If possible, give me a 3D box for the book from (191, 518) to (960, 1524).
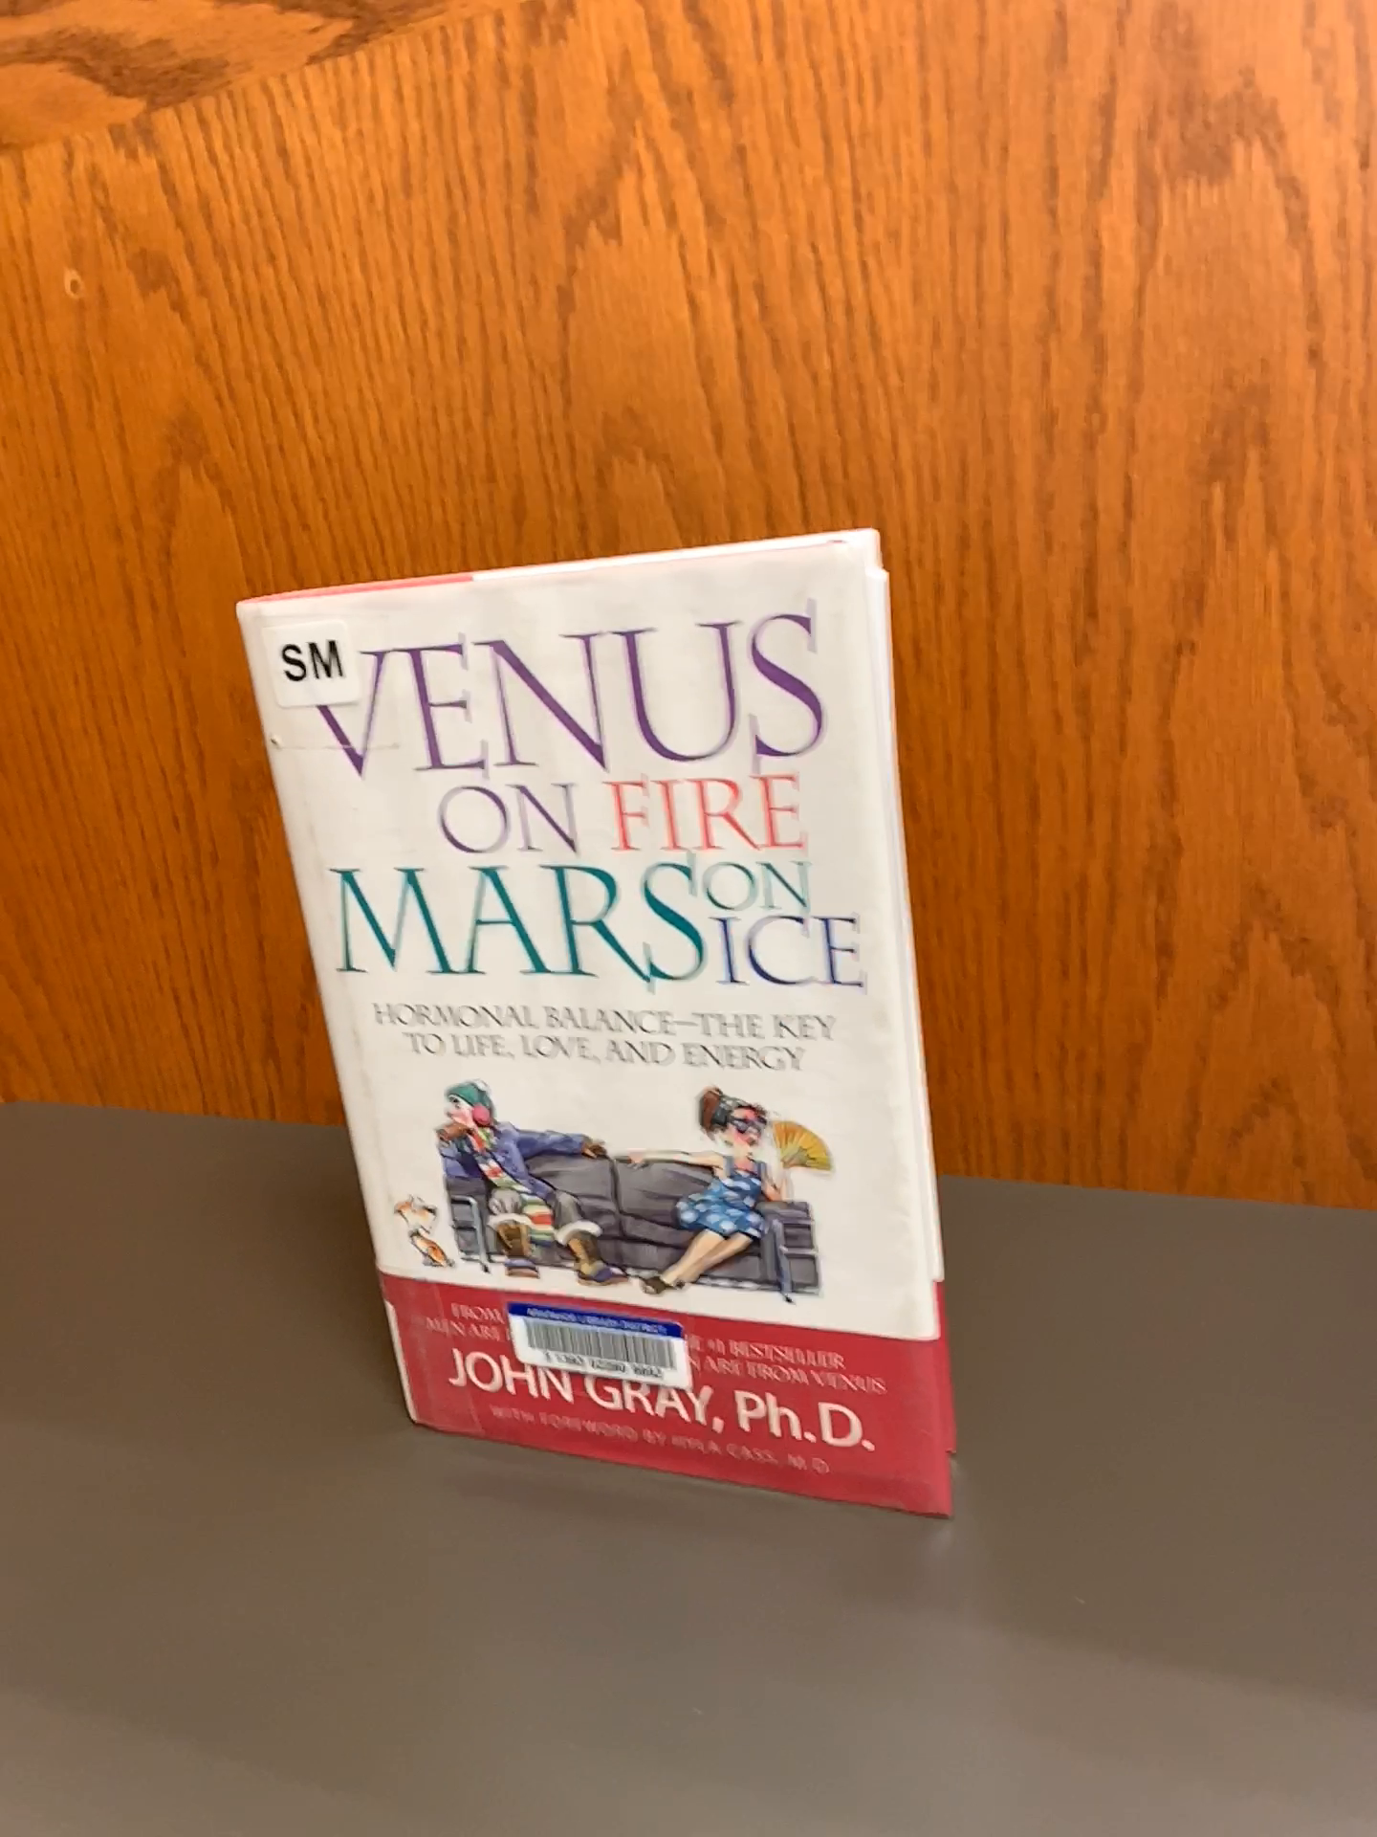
[{"bbox_3d":[-0.023,0.028,0.338,0.153,0.220,0.033,0,18,24],"label":"book"}]
